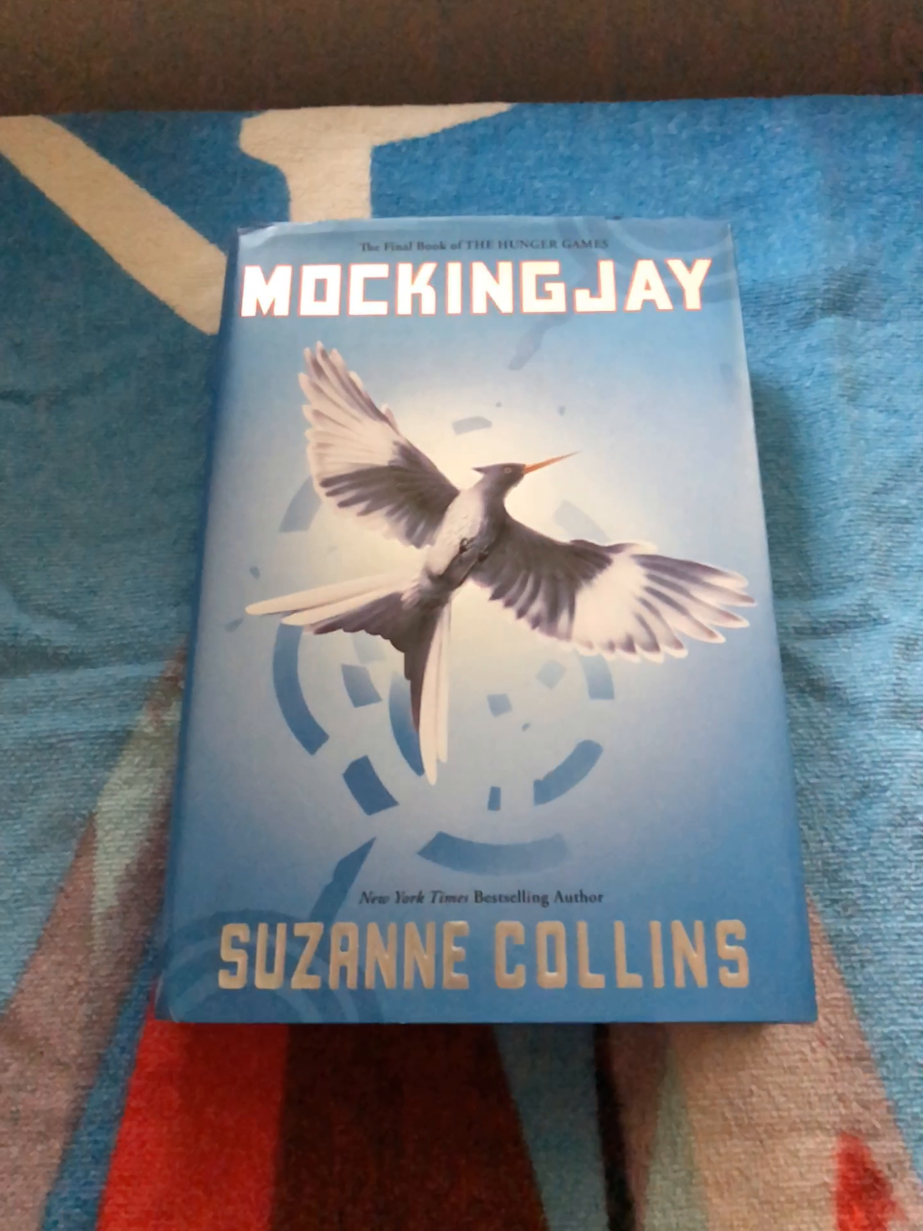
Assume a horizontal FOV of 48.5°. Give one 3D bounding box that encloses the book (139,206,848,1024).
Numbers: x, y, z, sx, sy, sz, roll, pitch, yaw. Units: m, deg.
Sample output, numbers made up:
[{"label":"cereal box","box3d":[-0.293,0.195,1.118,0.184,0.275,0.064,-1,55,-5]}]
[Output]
[{"label":"book","box3d":[0.006,-0.007,0.256,0.140,0.040,0.201,-1,70,2]}]
